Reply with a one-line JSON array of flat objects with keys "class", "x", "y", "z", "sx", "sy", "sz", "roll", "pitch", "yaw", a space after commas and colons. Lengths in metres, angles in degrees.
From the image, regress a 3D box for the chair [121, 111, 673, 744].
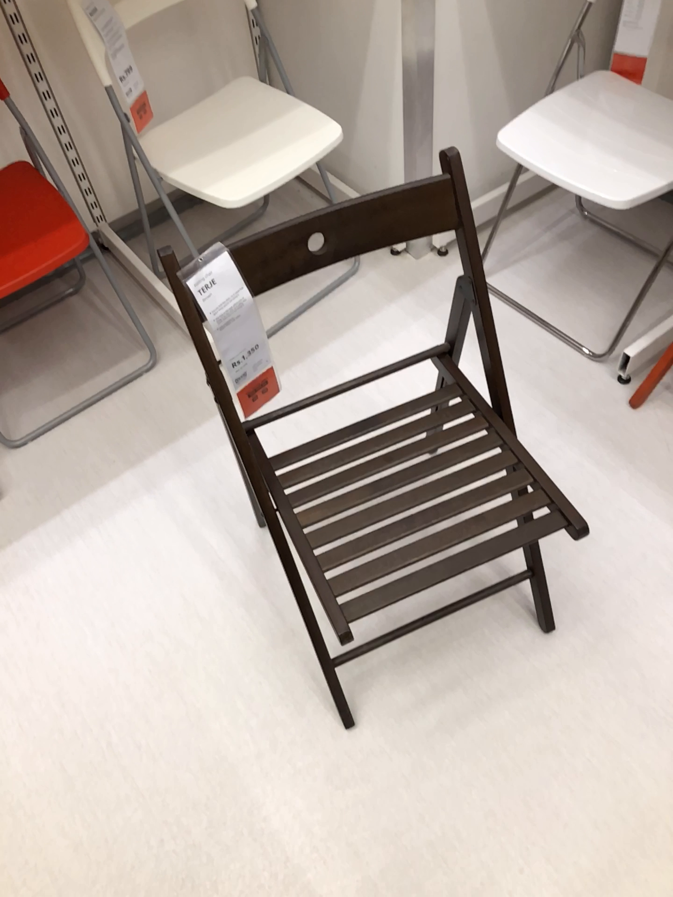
[{"class": "chair", "x": 0.070, "y": 0.024, "z": 1.158, "sx": 0.460, "sy": 0.776, "sz": 0.502, "roll": -23, "pitch": 55, "yaw": -10}]
